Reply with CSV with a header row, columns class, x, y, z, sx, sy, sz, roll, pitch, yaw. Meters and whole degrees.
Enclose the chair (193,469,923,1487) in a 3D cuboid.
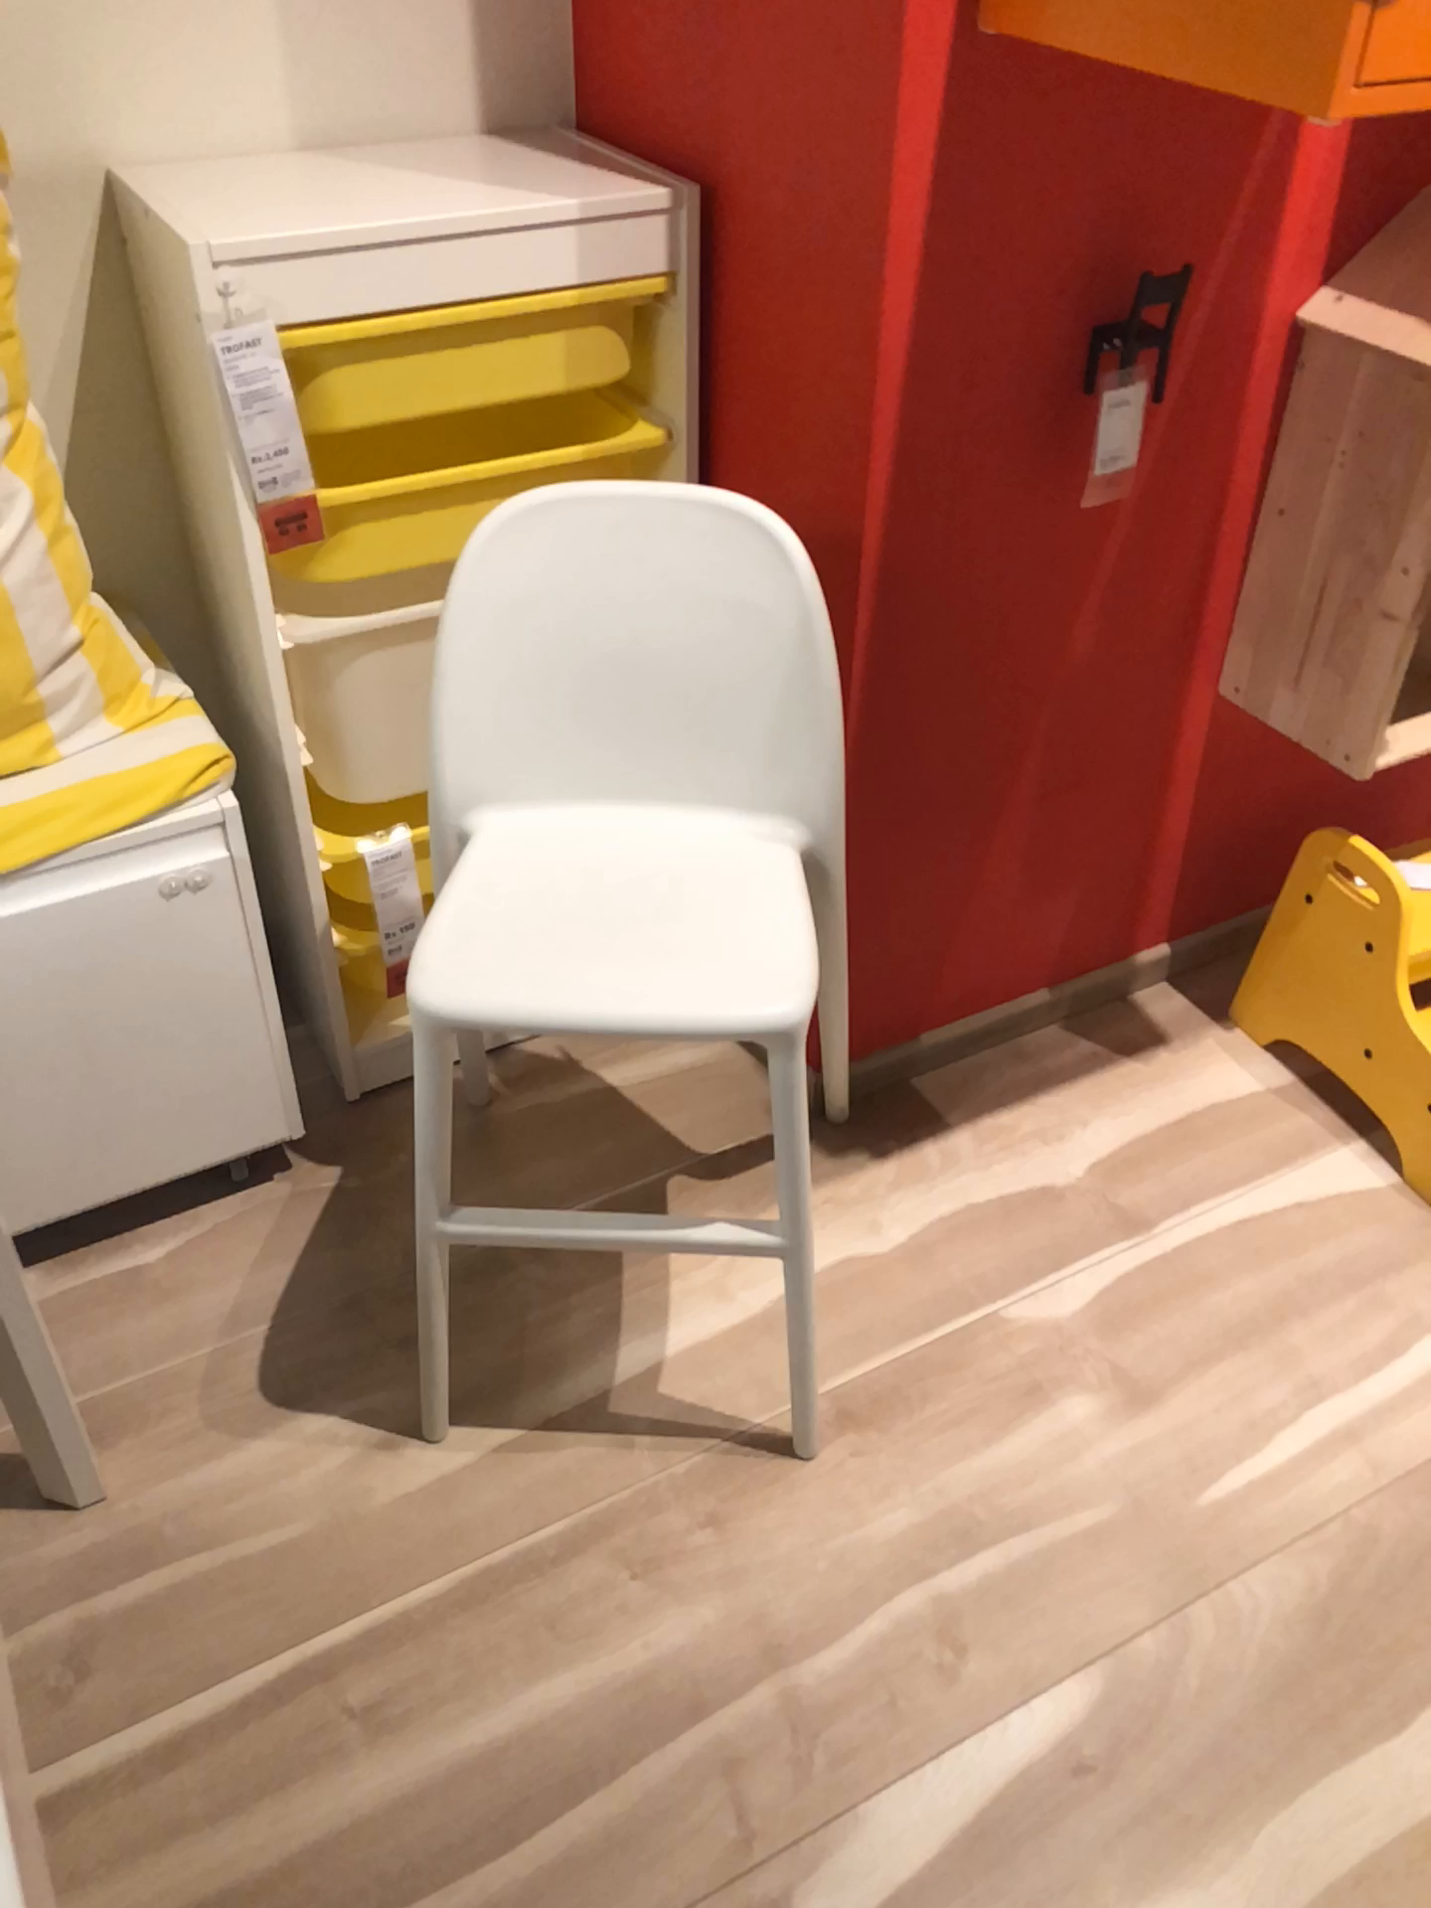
class,x,y,z,sx,sy,sz,roll,pitch,yaw
chair,-0.089,0.037,1.303,0.420,0.705,0.463,2,41,1
